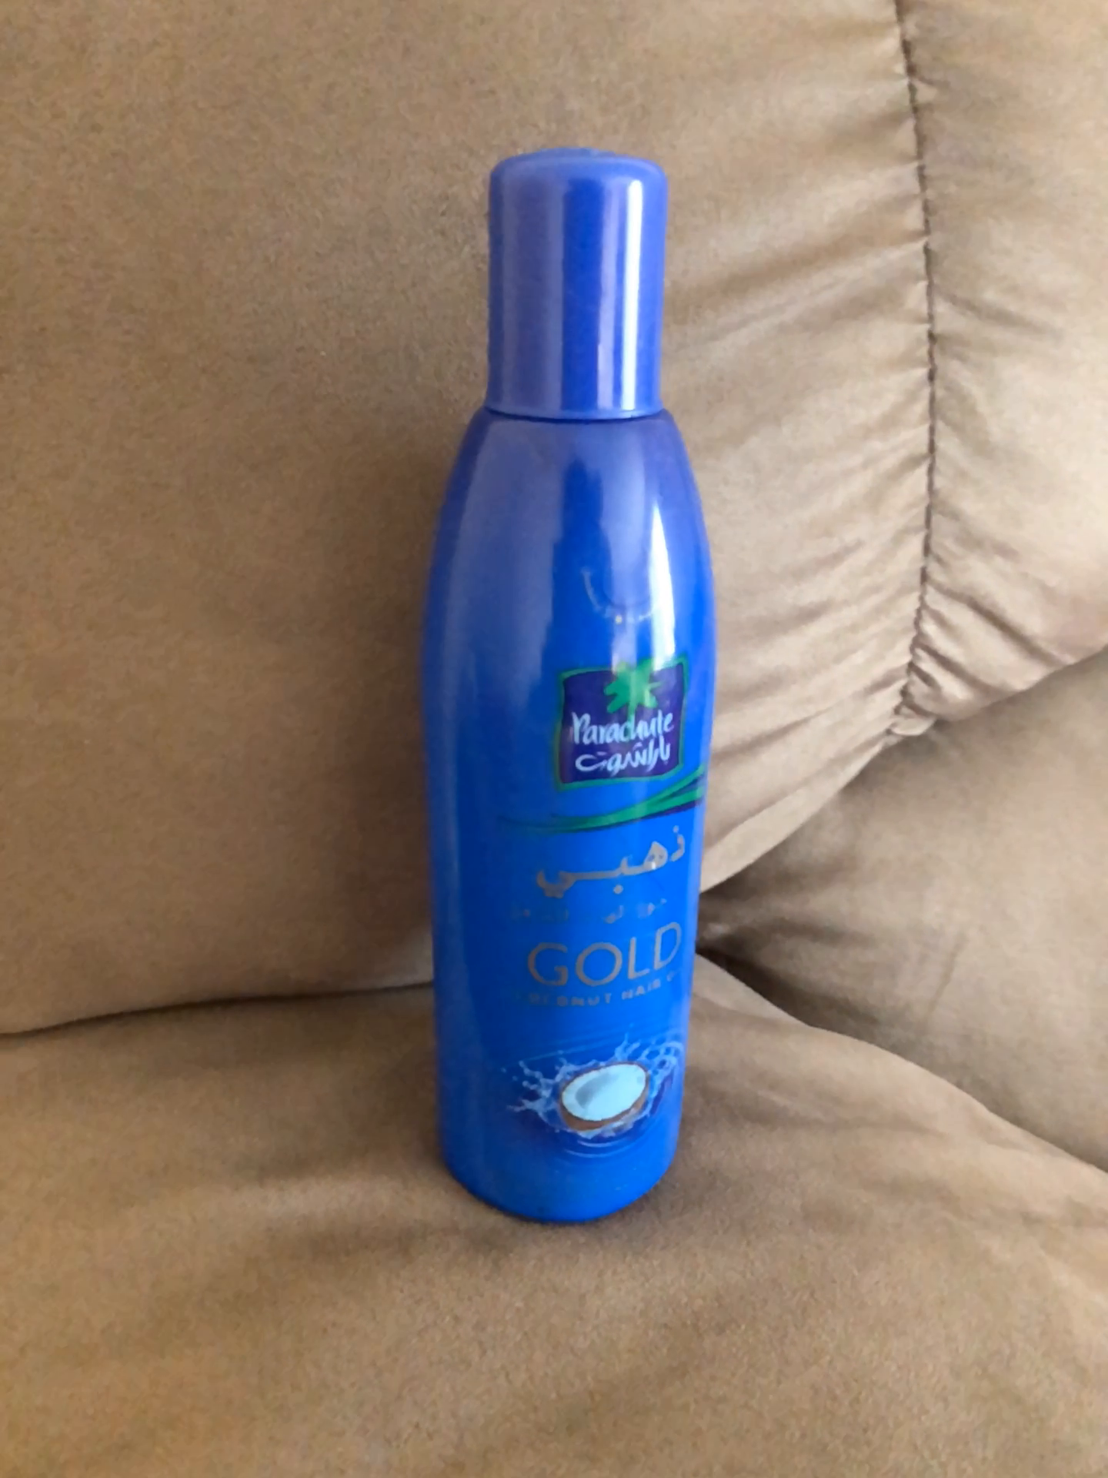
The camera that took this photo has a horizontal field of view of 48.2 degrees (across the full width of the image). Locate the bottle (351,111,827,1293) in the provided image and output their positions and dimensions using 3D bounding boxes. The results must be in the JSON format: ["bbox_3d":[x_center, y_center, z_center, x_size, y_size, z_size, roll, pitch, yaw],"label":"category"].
[{"bbox_3d":[0.001,-0.002,0.208,0.050,0.180,0.050,1,22,0],"label":"bottle"}]
